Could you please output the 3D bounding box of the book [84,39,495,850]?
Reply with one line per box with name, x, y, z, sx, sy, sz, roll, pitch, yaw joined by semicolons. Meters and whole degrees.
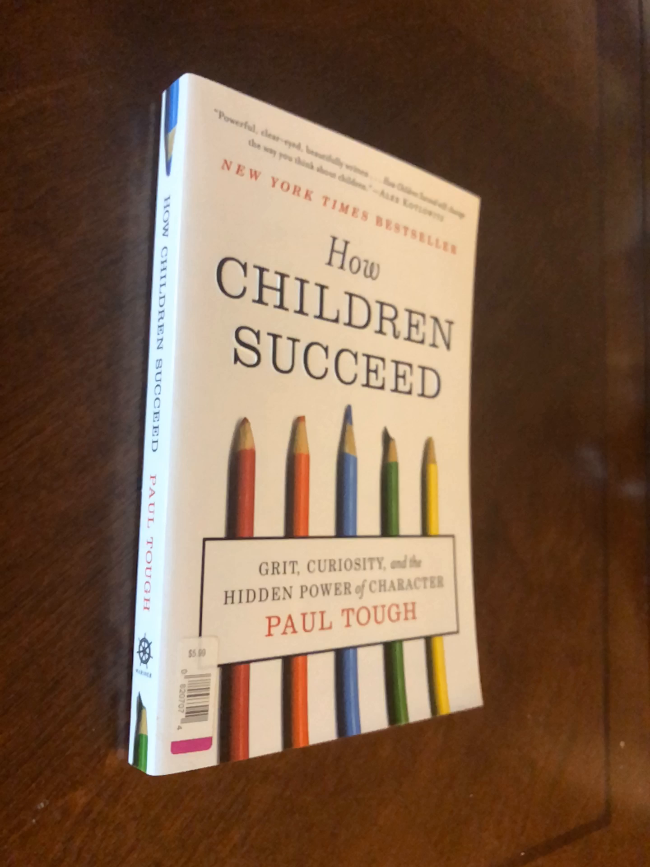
book;0.000;0.004;0.244;0.141;0.030;0.210;6;83;-39
